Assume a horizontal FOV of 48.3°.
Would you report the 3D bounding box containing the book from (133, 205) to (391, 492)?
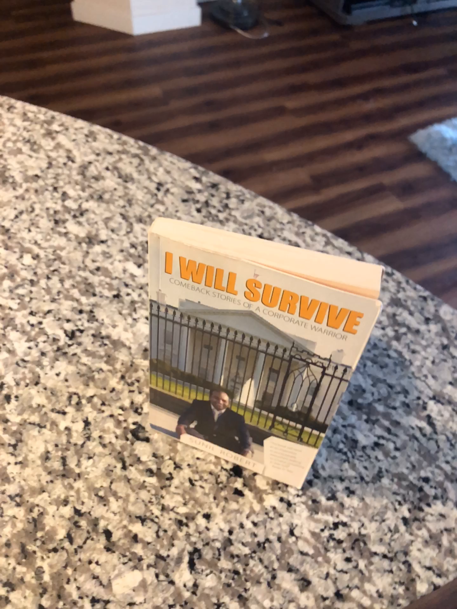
[{"bbox_3d":[0.007,0.042,0.335,0.134,0.191,0.032,17,44,9],"label":"book"}]
